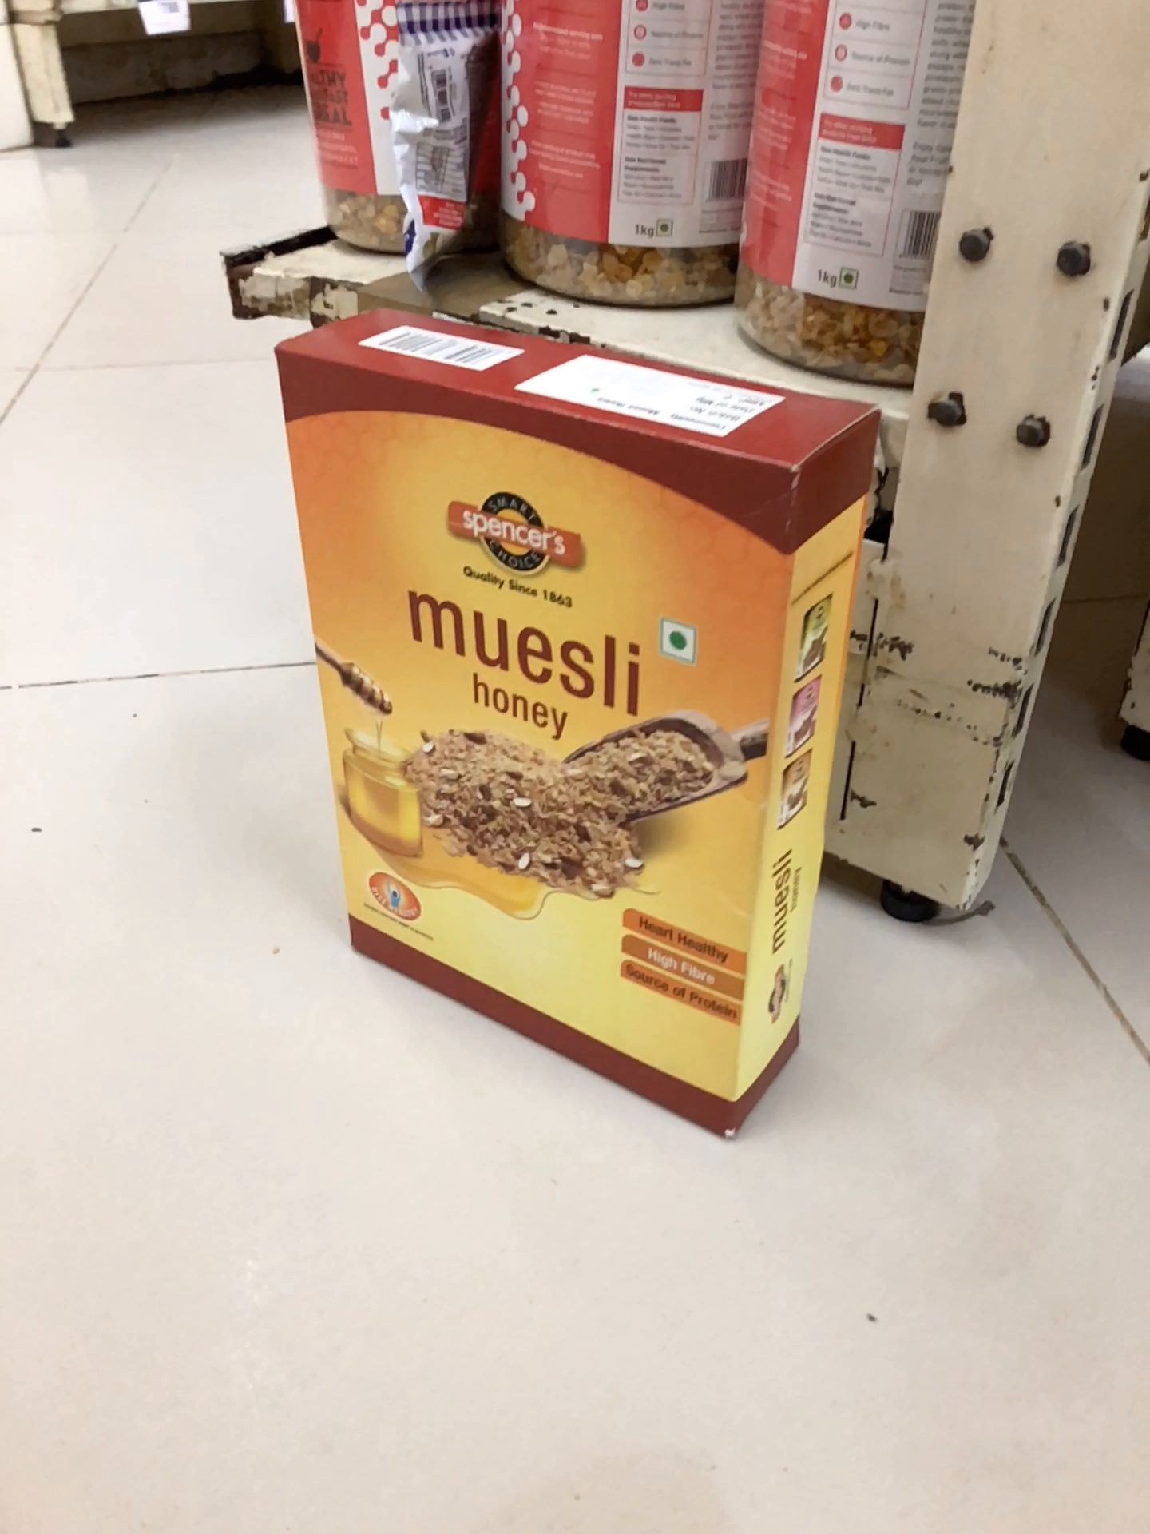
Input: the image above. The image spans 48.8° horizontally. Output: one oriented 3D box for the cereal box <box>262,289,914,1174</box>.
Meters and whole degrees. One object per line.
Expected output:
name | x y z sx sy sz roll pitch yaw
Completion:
cereal box | -0.002 -0.011 0.438 0.190 0.258 0.060 23 41 31
